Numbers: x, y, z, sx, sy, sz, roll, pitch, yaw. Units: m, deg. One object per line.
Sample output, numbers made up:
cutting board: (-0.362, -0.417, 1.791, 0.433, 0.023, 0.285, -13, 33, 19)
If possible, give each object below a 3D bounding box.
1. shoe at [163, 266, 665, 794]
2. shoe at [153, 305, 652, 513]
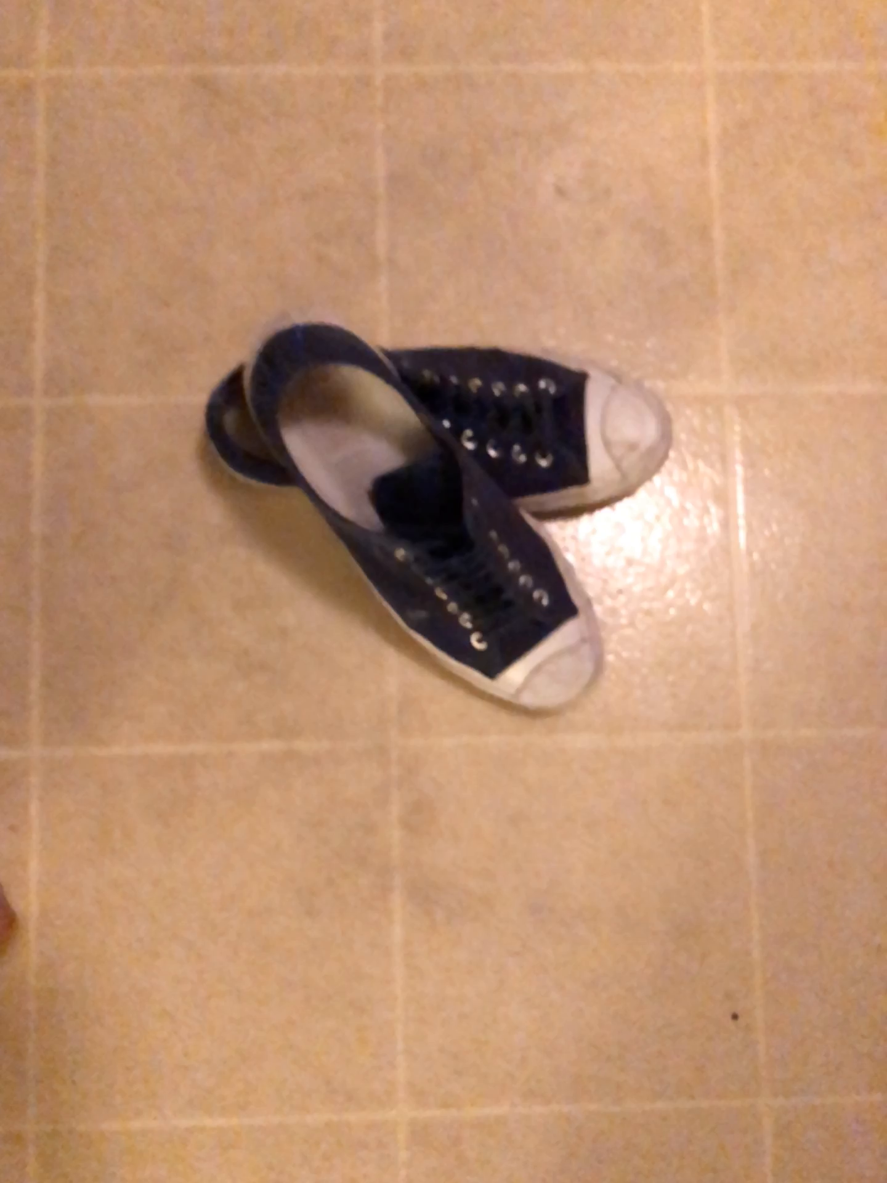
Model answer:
shoe: (-0.008, -0.030, 0.565, 0.100, 0.100, 0.290, -38, 112, 13)
shoe: (-0.025, -0.110, 0.618, 0.290, 0.080, 0.110, -2, 89, -9)
